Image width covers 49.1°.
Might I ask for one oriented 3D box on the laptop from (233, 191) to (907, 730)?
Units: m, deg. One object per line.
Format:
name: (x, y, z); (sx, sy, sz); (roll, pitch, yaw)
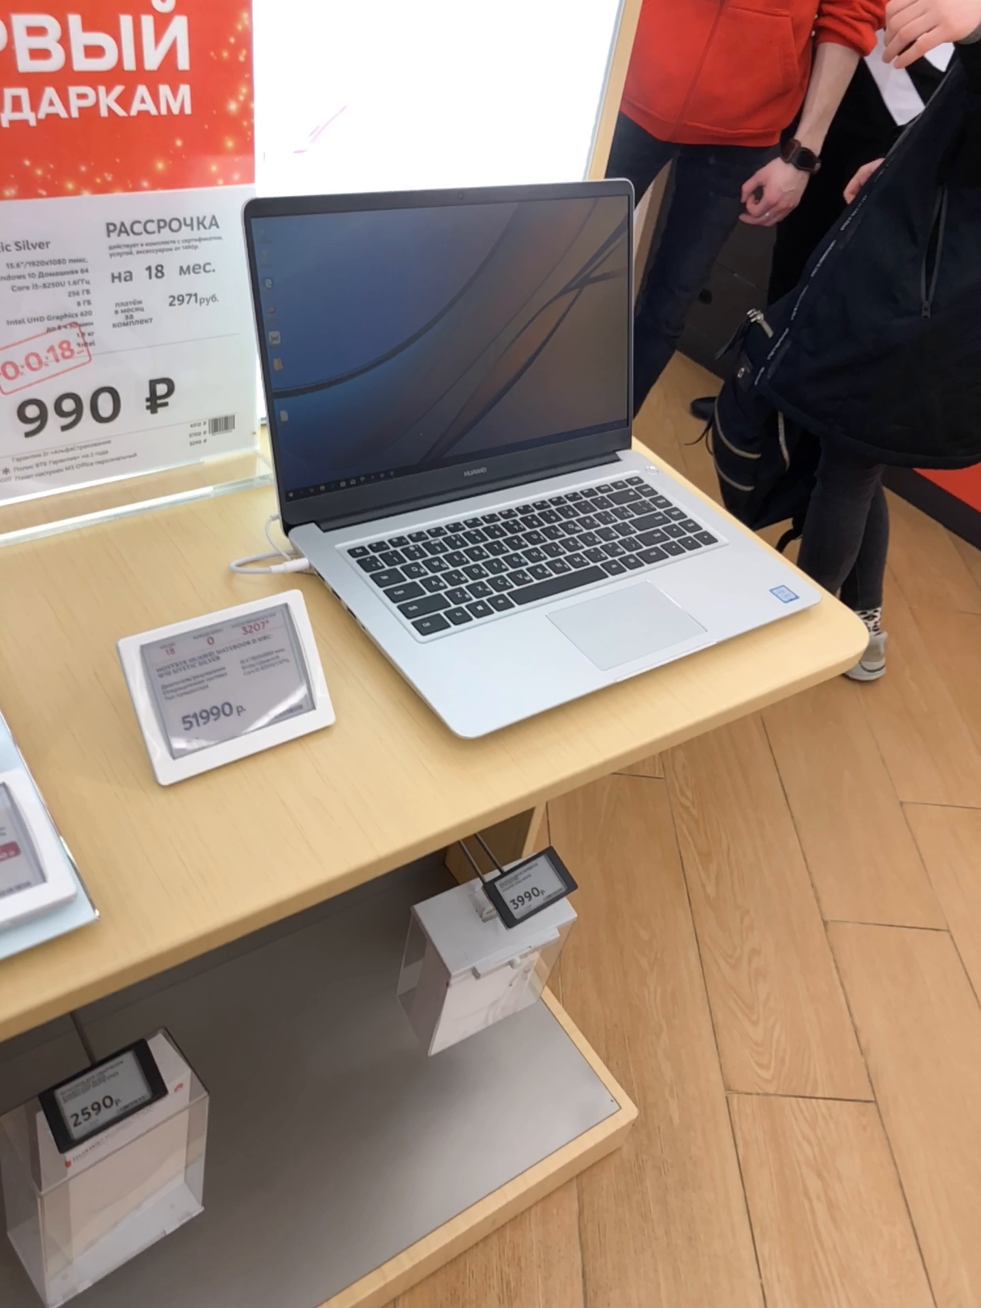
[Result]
laptop: (0.040, -0.168, 0.773); (0.341, 0.204, 0.306); (-19, 49, -33)
